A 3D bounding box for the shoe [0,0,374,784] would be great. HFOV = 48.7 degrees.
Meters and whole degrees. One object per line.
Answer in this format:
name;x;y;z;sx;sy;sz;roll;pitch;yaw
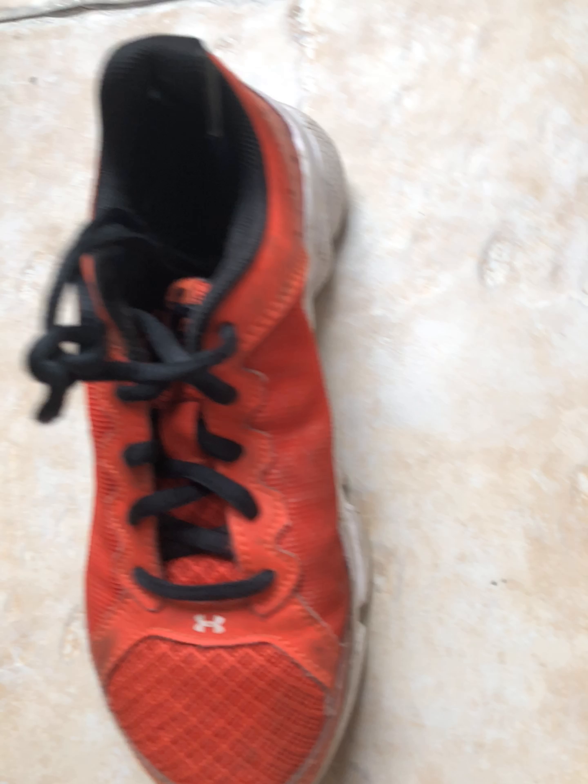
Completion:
shoe;-0.035;0.006;0.177;0.100;0.100;0.240;-2;80;13
